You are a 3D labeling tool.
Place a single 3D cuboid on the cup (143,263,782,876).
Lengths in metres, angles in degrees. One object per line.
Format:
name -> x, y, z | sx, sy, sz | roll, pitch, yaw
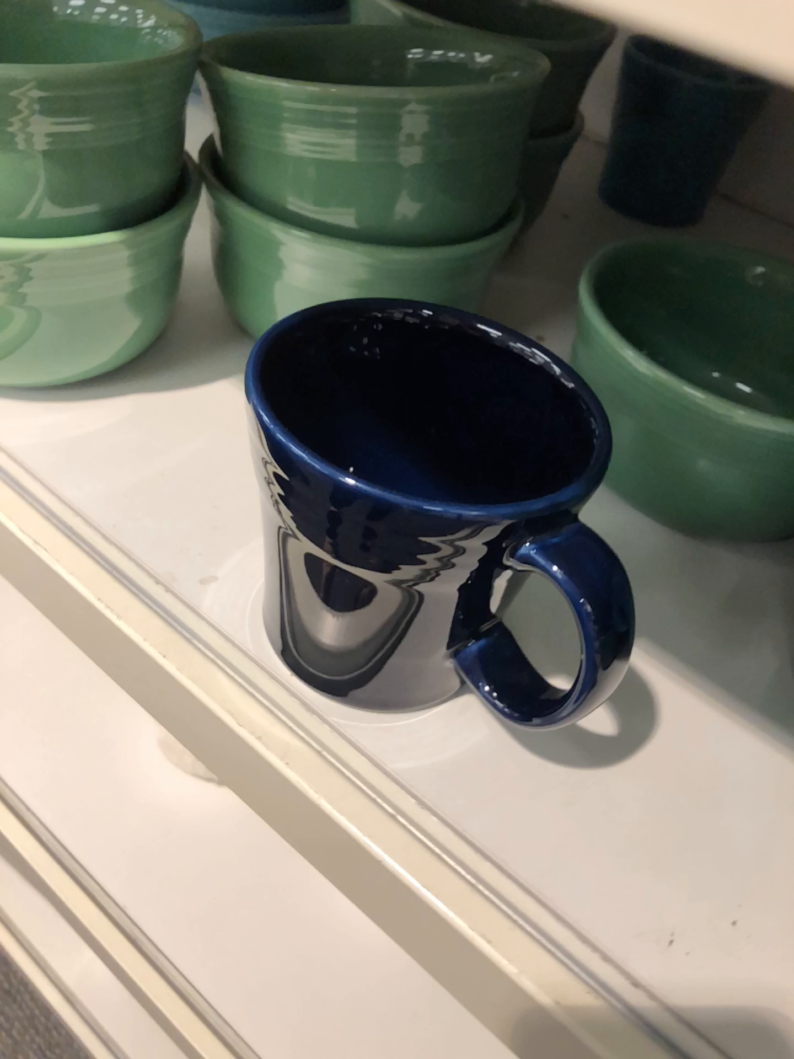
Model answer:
cup -> 0.011, 0.001, 0.262 | 0.143, 0.085, 0.093 | 35, 48, 25
